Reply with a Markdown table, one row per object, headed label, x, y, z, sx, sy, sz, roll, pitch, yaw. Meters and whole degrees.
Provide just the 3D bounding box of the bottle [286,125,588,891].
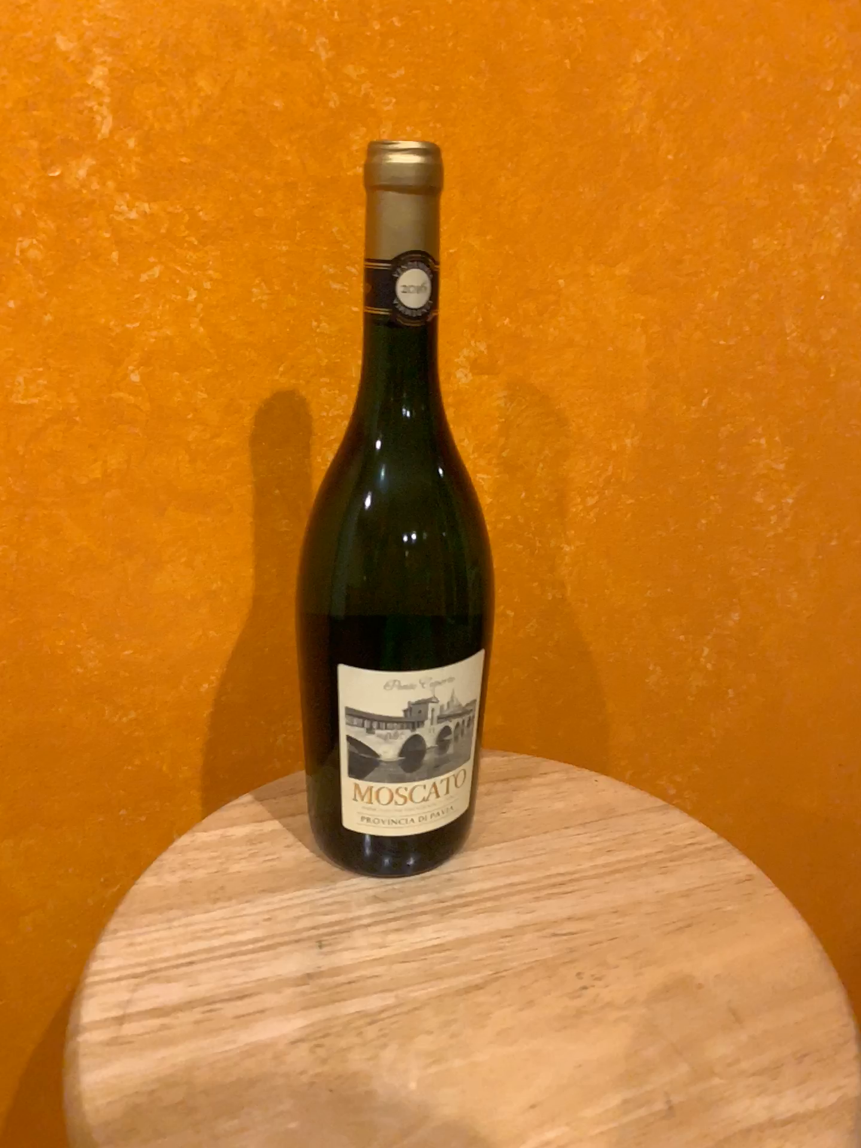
| label | x | y | z | sx | sy | sz | roll | pitch | yaw |
| --- | --- | --- | --- | --- | --- | --- | --- | --- | --- |
| bottle | -0.007 | -0.017 | 0.362 | 0.090 | 0.289 | 0.070 | -4 | 22 | -15 |
